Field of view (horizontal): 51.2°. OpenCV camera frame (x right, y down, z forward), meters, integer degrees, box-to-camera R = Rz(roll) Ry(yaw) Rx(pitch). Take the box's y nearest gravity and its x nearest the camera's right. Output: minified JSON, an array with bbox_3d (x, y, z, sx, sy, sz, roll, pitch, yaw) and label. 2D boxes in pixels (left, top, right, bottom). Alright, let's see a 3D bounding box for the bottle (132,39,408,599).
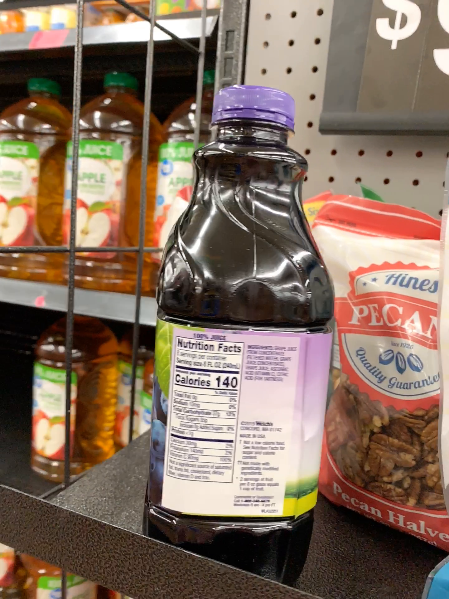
[{"bbox_3d":[0.014,0.018,0.269,0.100,0.260,0.120,4,8,-3],"label":"bottle"}]
